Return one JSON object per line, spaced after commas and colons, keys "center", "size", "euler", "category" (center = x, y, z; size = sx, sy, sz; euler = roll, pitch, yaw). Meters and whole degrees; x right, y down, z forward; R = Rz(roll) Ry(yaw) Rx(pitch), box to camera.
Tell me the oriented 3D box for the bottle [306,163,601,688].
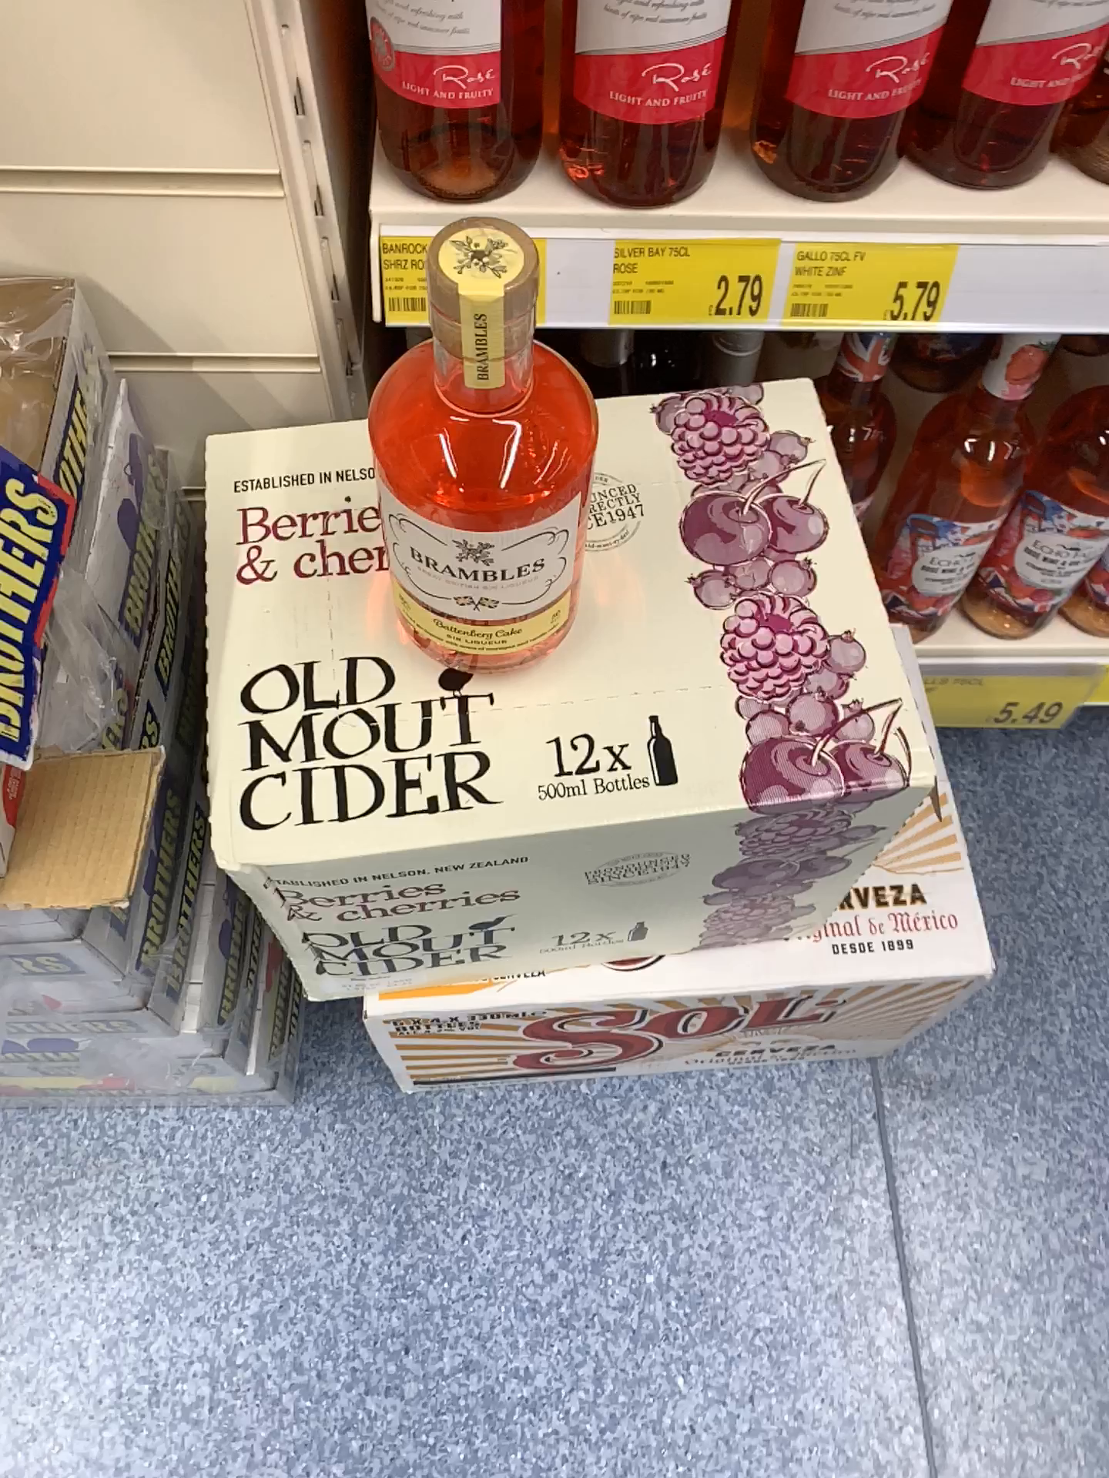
{"center": [-0.028, -0.096, 0.399], "size": [0.077, 0.176, 0.076], "euler": [1, 63, -1], "category": "bottle"}
